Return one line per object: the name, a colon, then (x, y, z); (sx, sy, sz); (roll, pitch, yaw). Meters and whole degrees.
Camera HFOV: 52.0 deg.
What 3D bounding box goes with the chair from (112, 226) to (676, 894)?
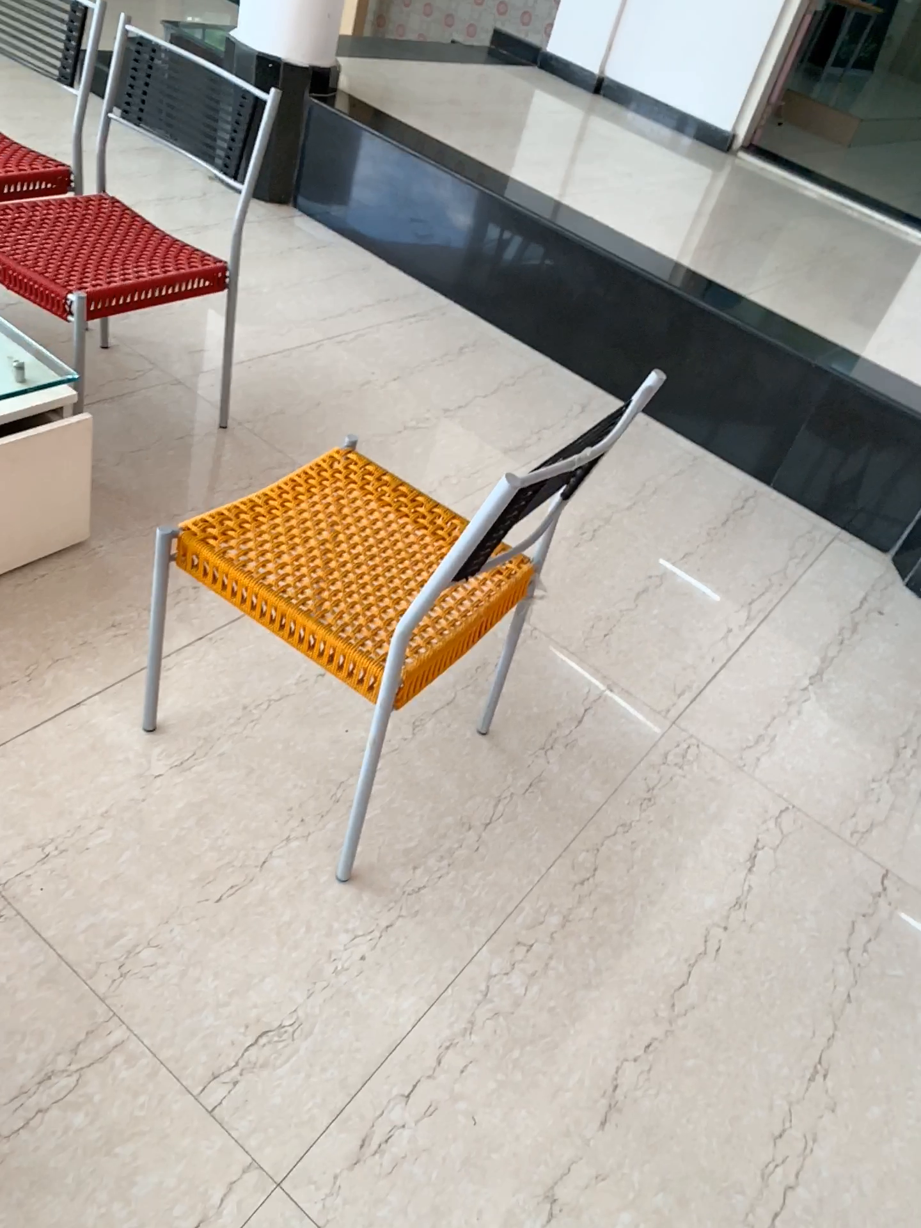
chair: (-0.138, -0.101, 1.476); (0.521, 0.744, 0.533); (33, 40, 18)
